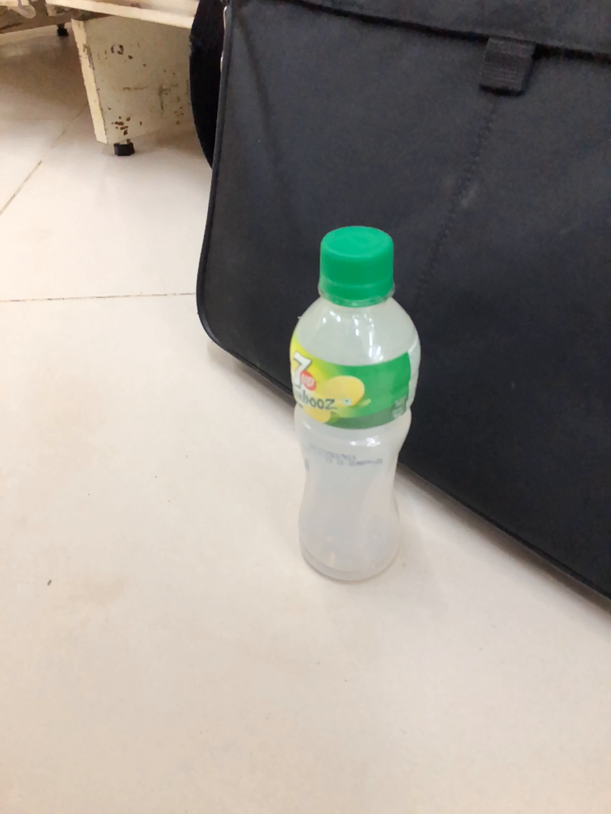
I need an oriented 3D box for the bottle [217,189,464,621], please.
[{"bbox_3d":[0.016,0.005,0.327,0.070,0.189,0.070,-1,38,1],"label":"bottle"}]
